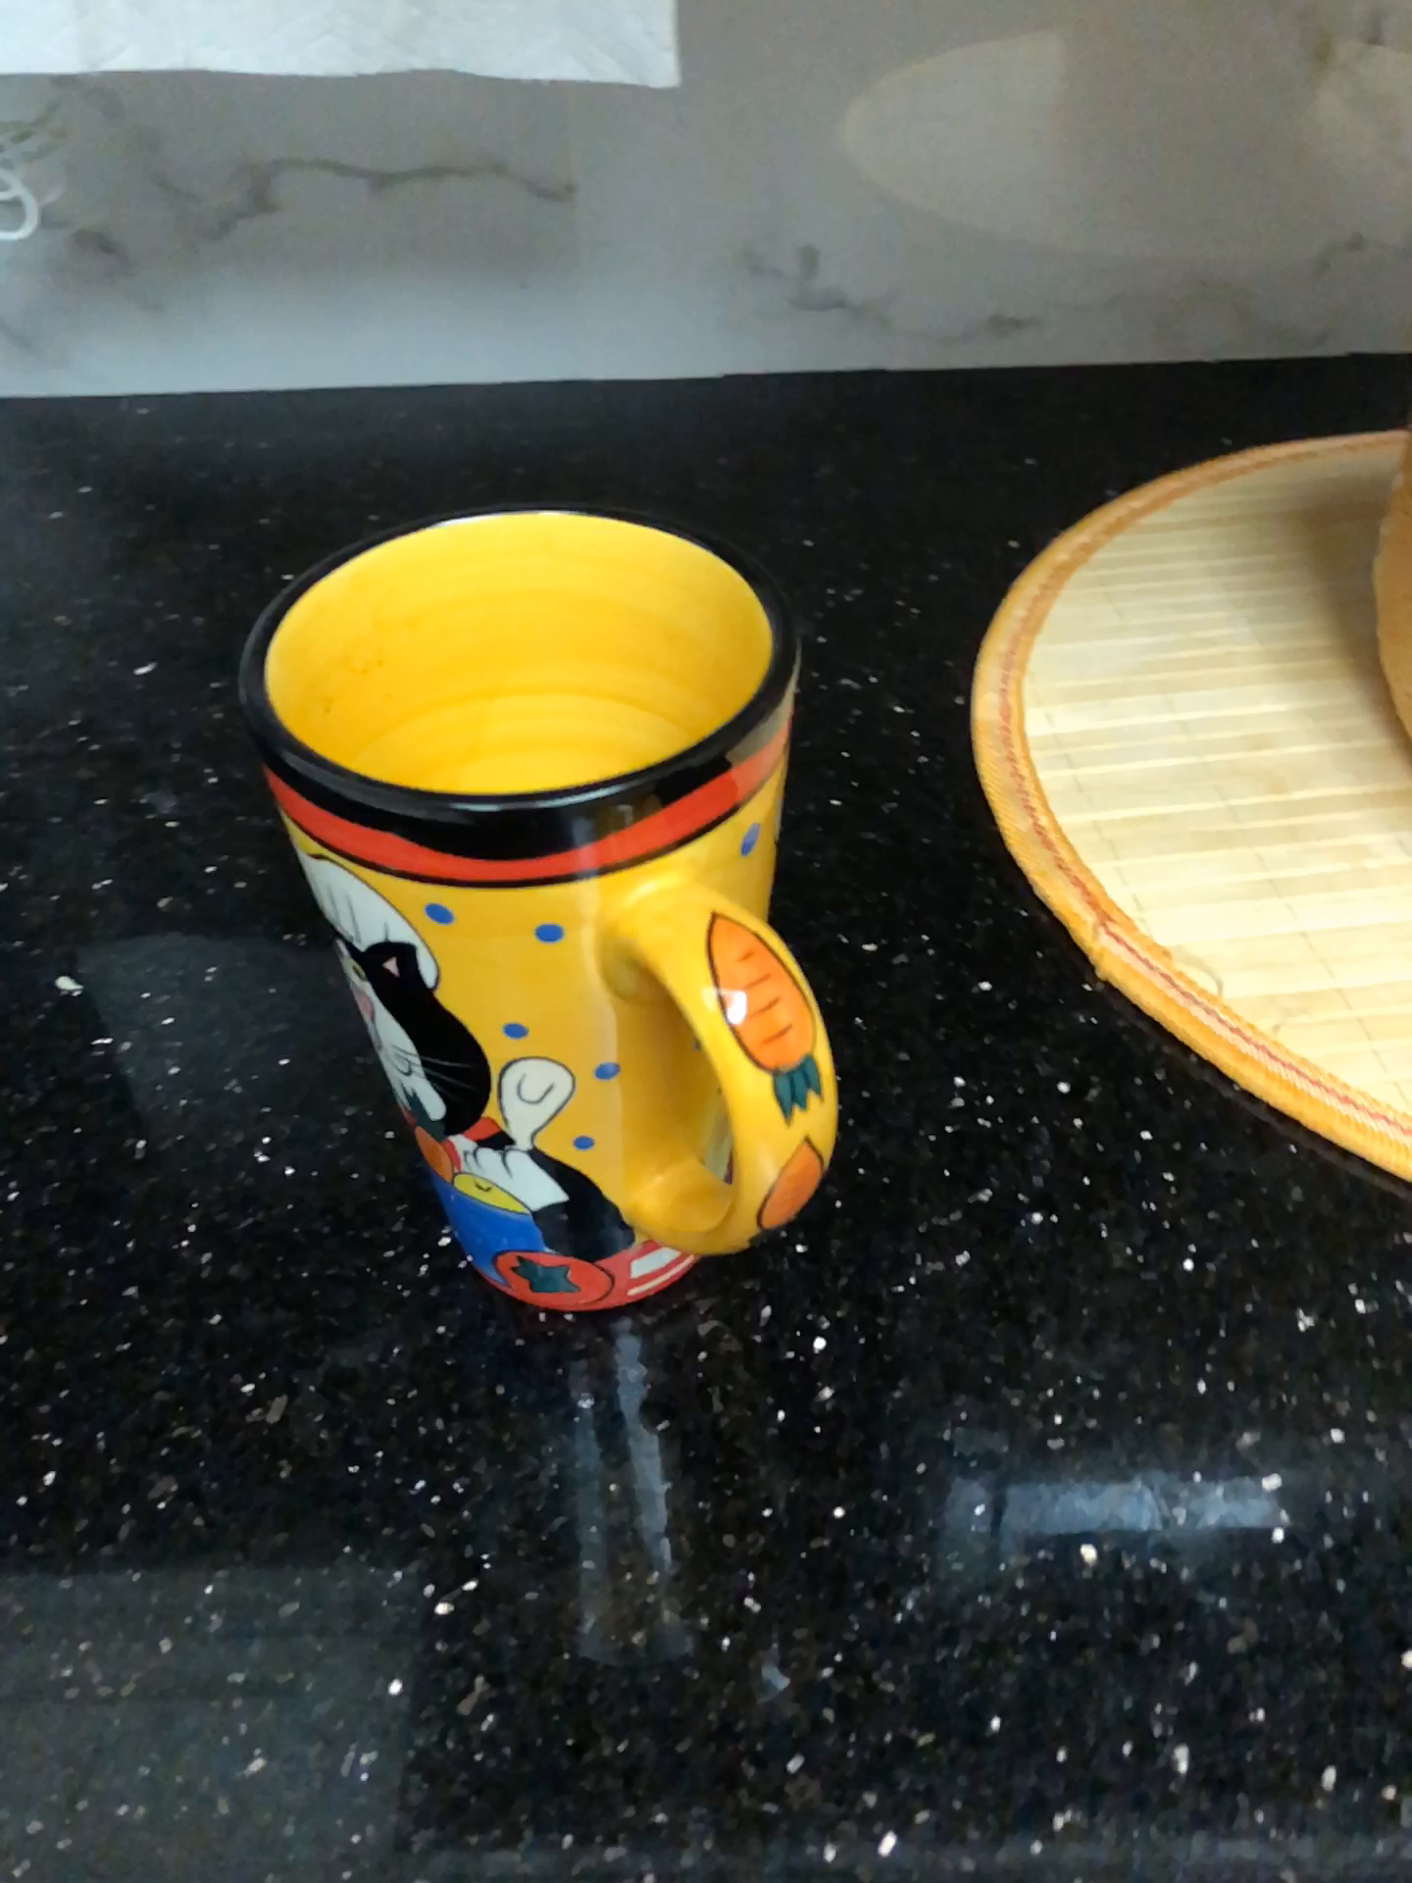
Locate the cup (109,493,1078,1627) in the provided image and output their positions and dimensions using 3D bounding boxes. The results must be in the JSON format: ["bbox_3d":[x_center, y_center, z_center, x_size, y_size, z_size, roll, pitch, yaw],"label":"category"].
[{"bbox_3d":[-0.020,0.017,0.290,0.090,0.139,0.130,-31,49,-28],"label":"cup"}]
